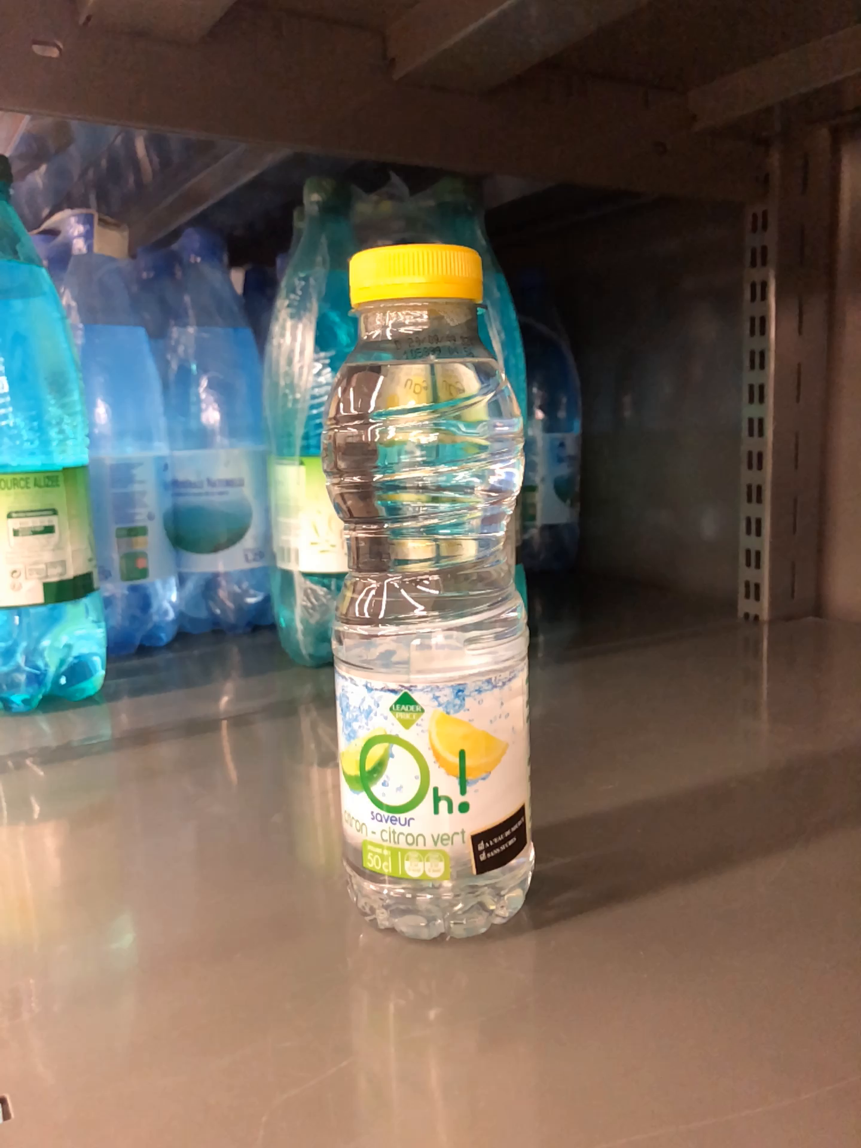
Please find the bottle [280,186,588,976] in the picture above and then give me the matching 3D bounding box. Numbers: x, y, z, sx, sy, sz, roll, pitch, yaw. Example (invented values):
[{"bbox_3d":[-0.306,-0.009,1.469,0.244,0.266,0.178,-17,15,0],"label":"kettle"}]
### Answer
[{"bbox_3d":[0.005,0.002,0.293,0.070,0.210,0.060,3,9,27],"label":"bottle"}]
